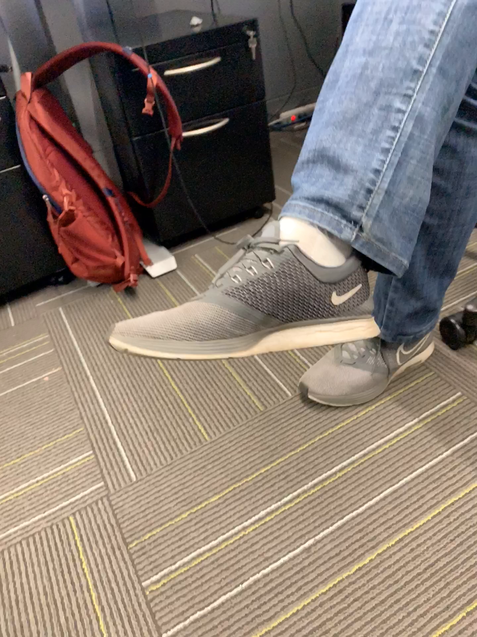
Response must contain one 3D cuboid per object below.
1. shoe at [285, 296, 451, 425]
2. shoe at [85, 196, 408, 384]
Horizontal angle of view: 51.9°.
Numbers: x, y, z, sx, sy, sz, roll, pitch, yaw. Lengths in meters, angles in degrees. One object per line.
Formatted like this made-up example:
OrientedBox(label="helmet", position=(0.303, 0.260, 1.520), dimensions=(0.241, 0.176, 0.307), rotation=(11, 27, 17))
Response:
OrientedBox(label="shoe", position=(0.236, 0.070, 0.900), dimensions=(0.269, 0.085, 0.120), rotation=(-23, 39, -17))
OrientedBox(label="shoe", position=(0.004, -0.027, 0.530), dimensions=(0.295, 0.143, 0.122), rotation=(-9, -5, -11))
